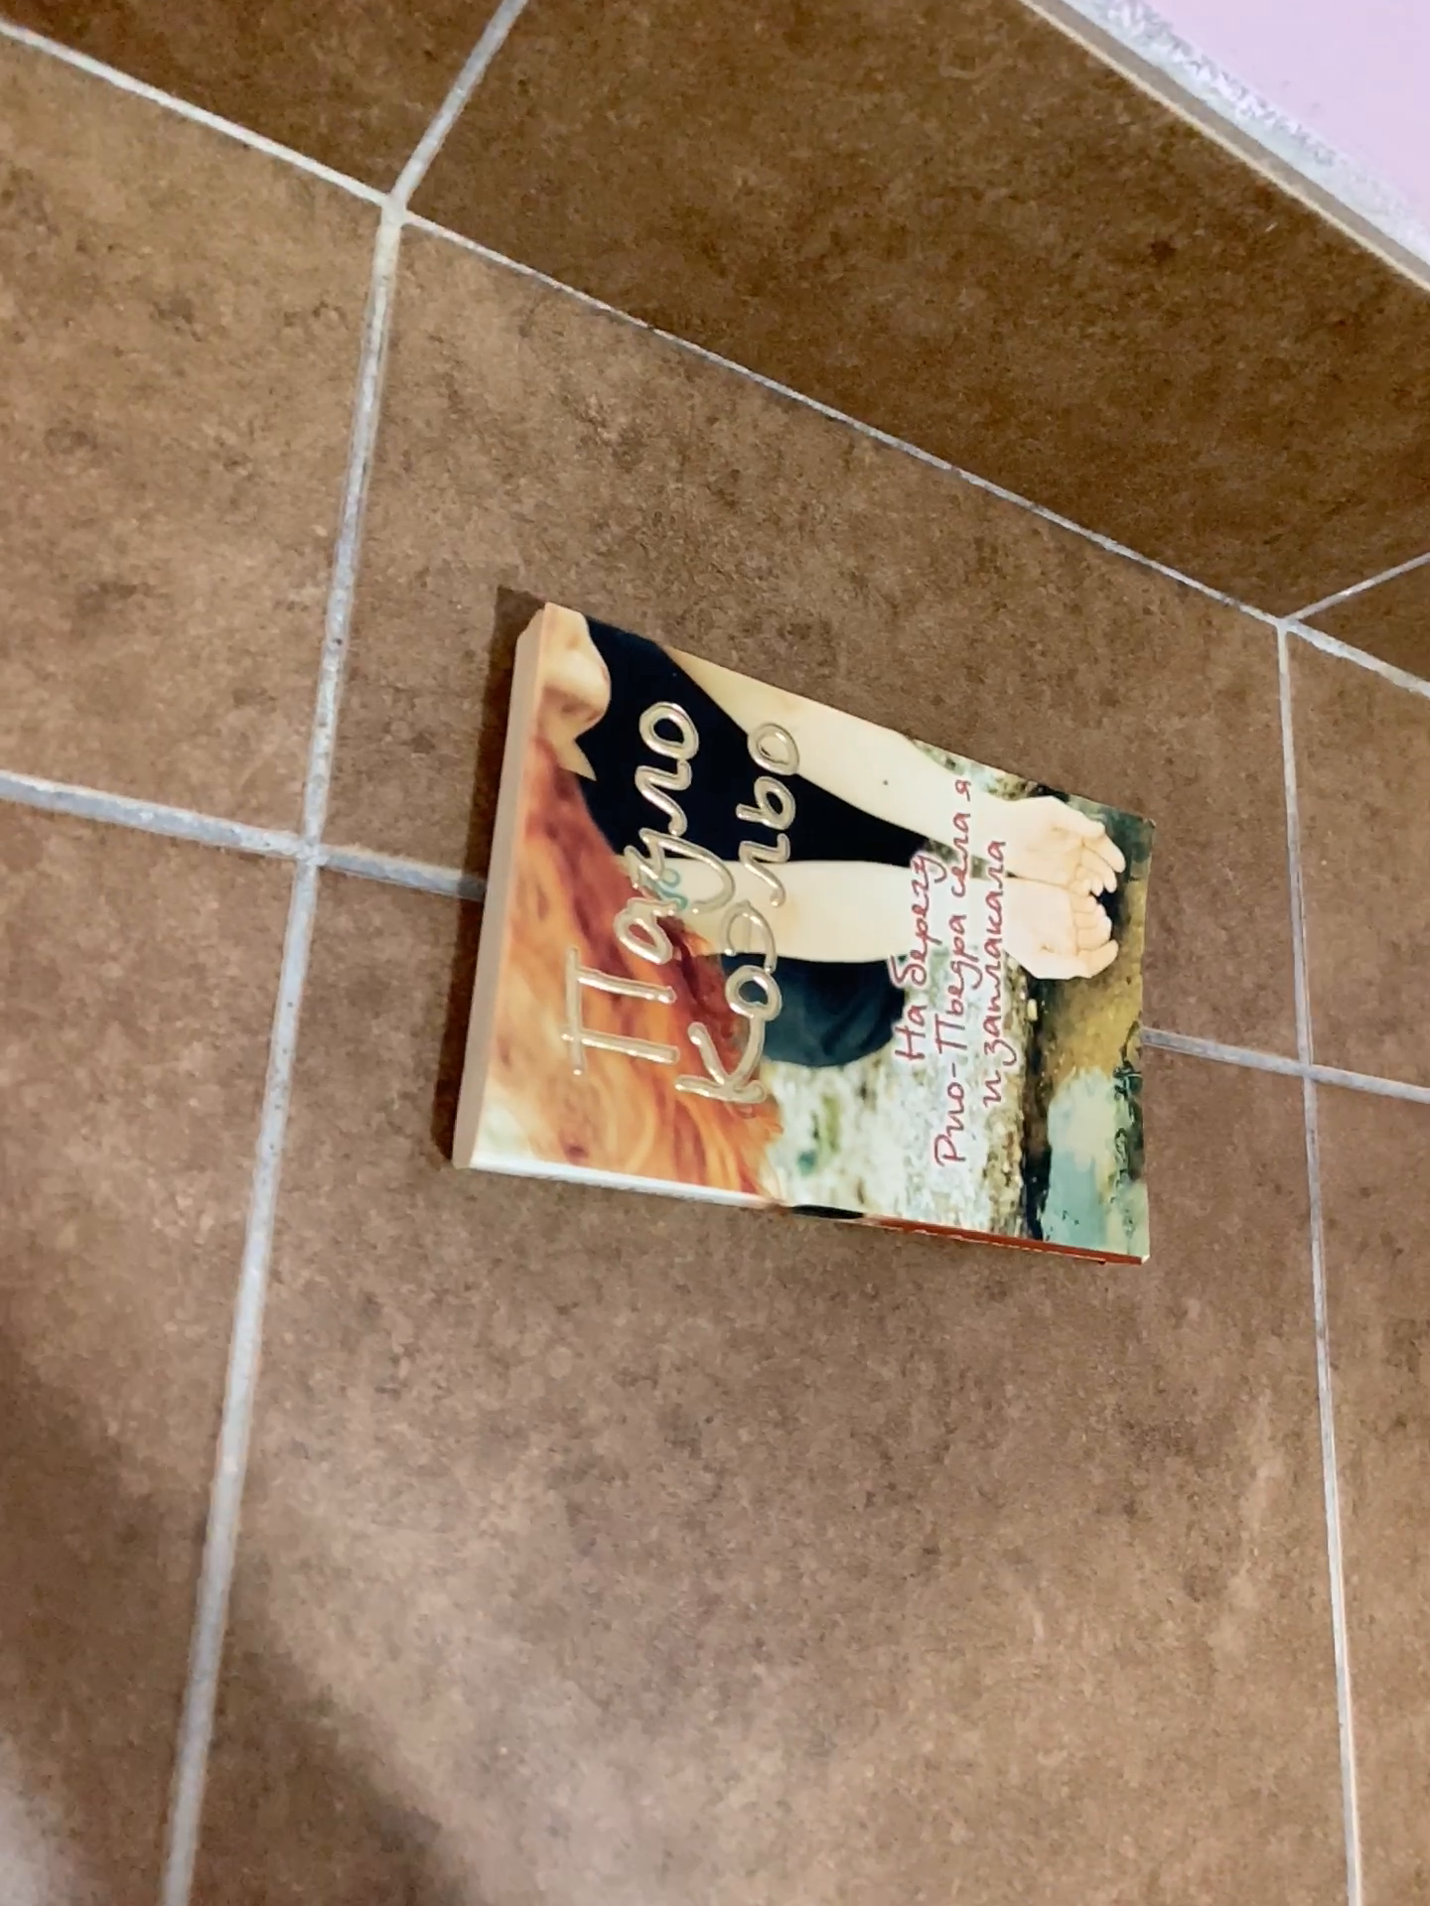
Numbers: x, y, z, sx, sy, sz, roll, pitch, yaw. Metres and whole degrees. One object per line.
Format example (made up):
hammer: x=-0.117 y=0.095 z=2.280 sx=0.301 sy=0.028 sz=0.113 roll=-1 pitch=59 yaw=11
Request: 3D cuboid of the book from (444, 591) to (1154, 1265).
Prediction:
book: x=0.033 y=0.003 z=0.338 sx=0.182 sy=0.016 sz=0.119 roll=14 pitch=72 yaw=-30
